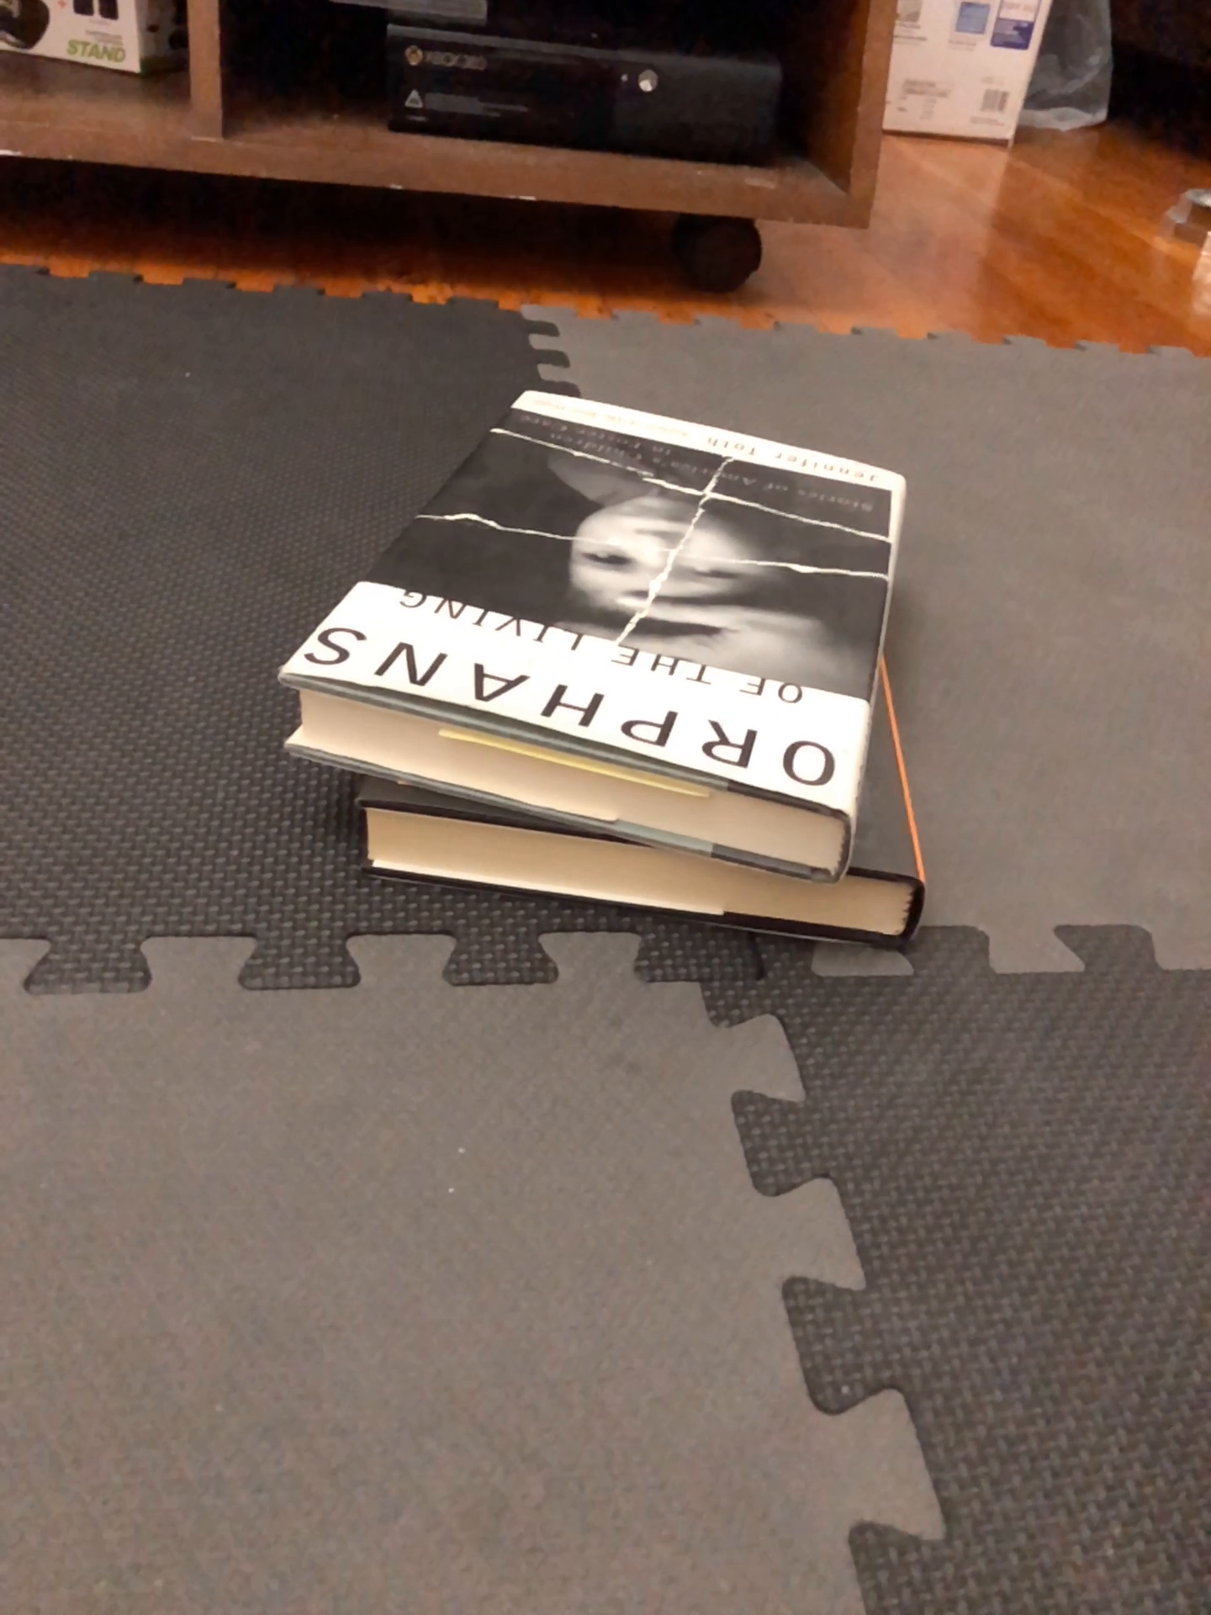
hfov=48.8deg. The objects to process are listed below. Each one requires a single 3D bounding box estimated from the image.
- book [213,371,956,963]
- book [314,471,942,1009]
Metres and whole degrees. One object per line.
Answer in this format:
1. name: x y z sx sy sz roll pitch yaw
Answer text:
1. book: 0.020 -0.072 0.442 0.180 0.030 0.282 13 36 7
2. book: 0.011 -0.041 0.448 0.160 0.030 0.252 7 36 -1
